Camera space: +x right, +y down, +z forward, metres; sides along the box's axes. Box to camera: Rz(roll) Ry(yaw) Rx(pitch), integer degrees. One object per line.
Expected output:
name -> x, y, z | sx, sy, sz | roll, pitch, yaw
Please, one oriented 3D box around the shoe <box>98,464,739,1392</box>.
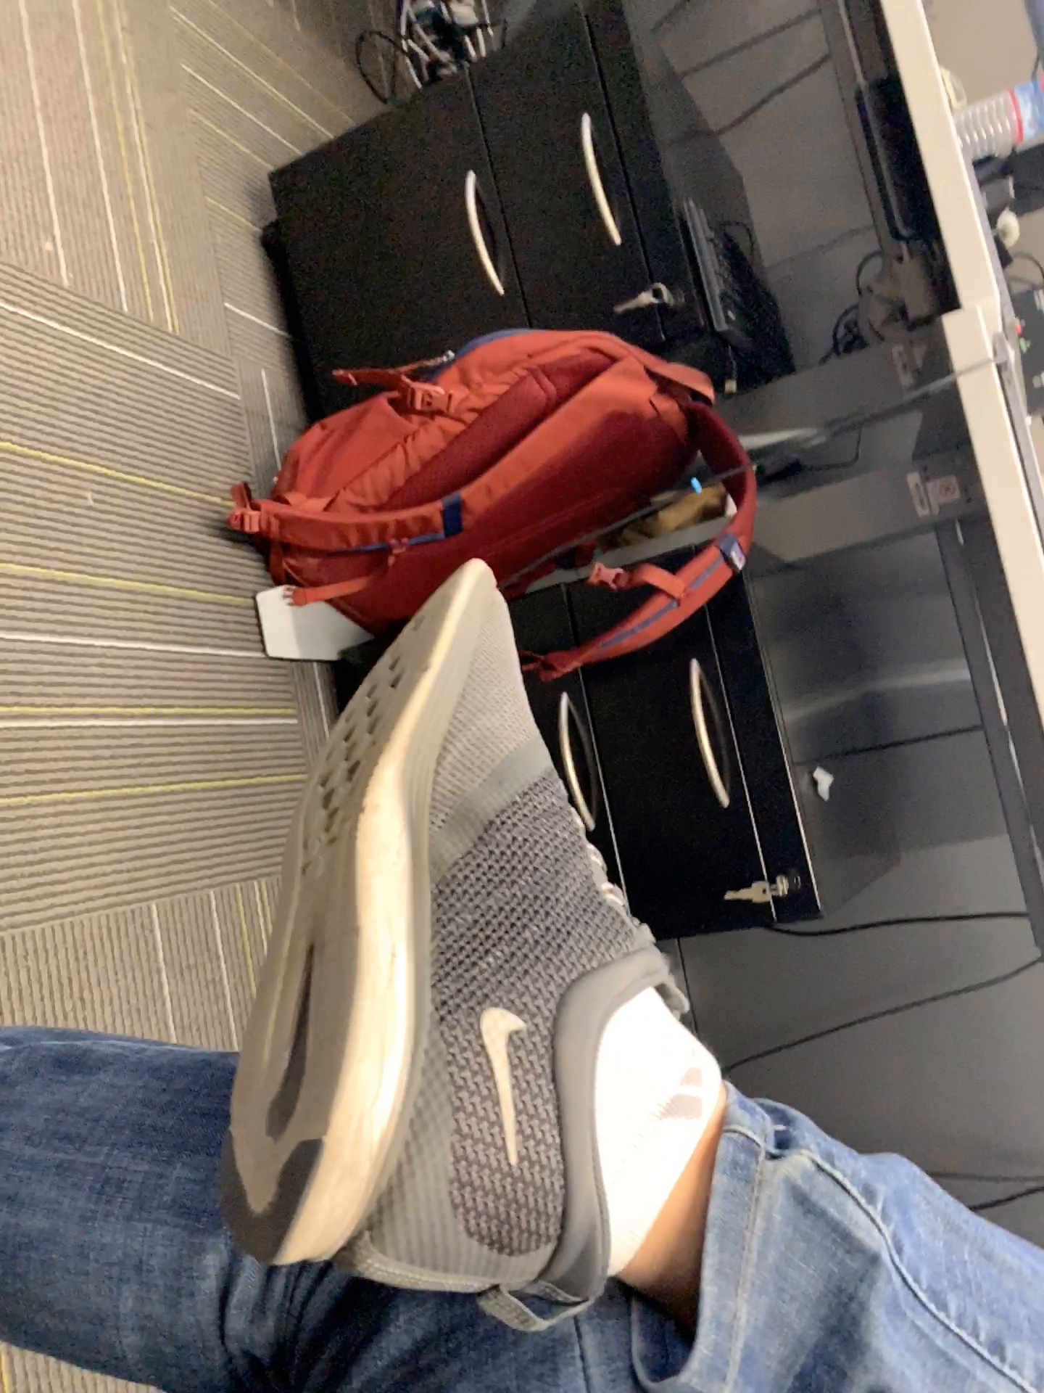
shoe -> -0.020, 0.070, 0.399 | 0.142, 0.115, 0.295 | 25, 43, -17
